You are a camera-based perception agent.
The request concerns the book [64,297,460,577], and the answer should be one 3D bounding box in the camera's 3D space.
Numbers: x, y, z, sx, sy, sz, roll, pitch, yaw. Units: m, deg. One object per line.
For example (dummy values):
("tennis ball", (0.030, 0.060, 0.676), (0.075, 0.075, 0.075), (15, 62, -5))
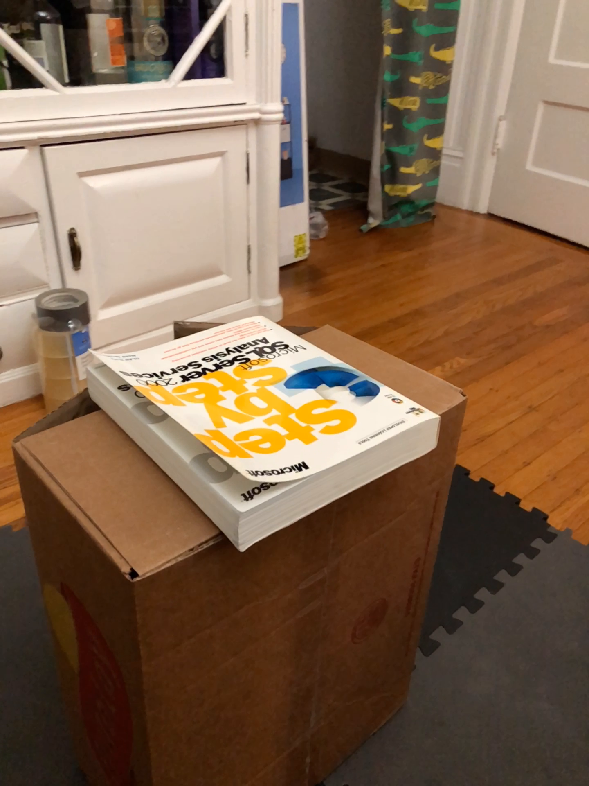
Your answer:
("book", (-0.030, 0.009, 0.516), (0.201, 0.050, 0.241), (-27, 40, -35))
